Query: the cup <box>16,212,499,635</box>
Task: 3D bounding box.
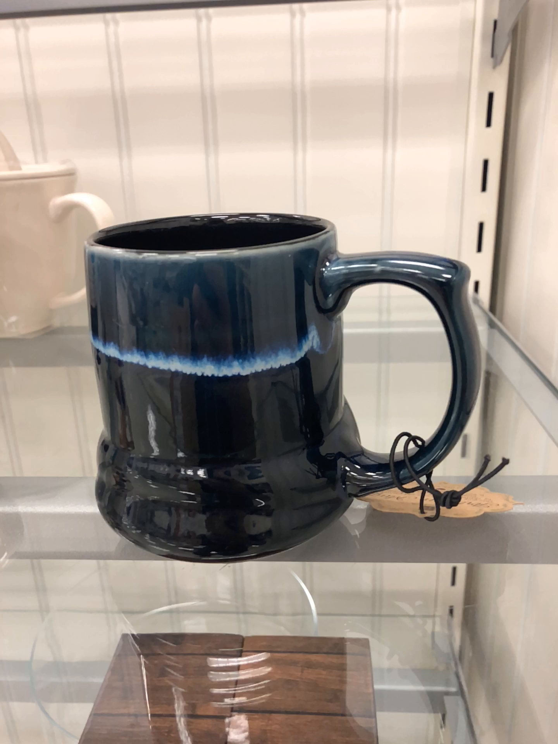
[{"bbox_3d":[0.003,0.003,0.234,0.140,0.109,0.101,6,22,19],"label":"cup"}]
